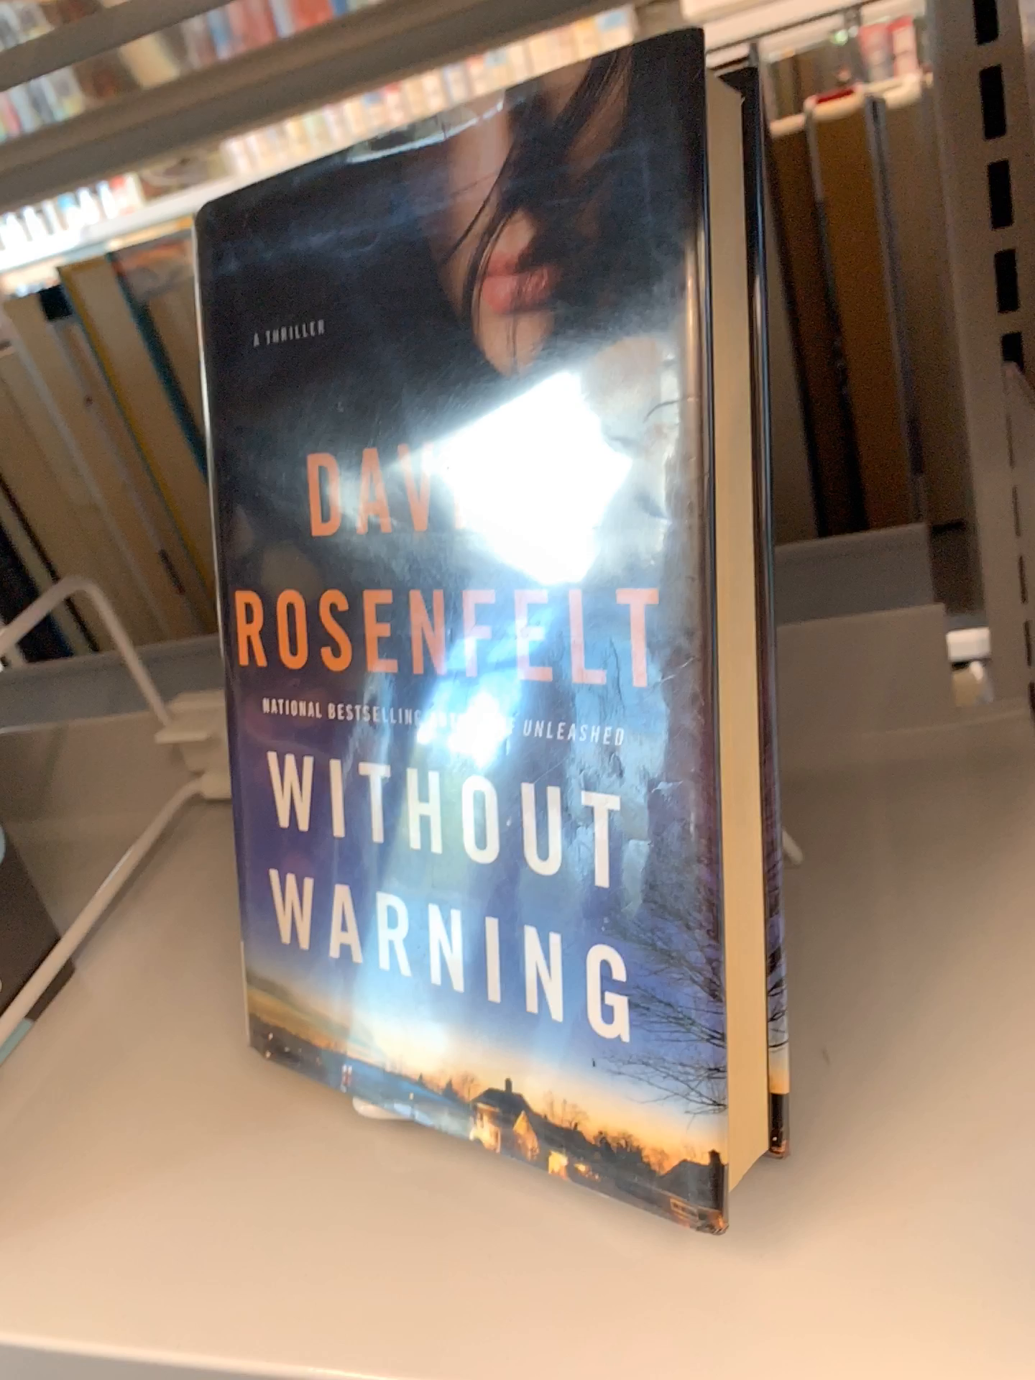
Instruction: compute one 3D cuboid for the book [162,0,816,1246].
[{"bbox_3d":[-0.012,-0.011,0.259,0.157,0.230,0.035,4,11,38],"label":"book"}]
